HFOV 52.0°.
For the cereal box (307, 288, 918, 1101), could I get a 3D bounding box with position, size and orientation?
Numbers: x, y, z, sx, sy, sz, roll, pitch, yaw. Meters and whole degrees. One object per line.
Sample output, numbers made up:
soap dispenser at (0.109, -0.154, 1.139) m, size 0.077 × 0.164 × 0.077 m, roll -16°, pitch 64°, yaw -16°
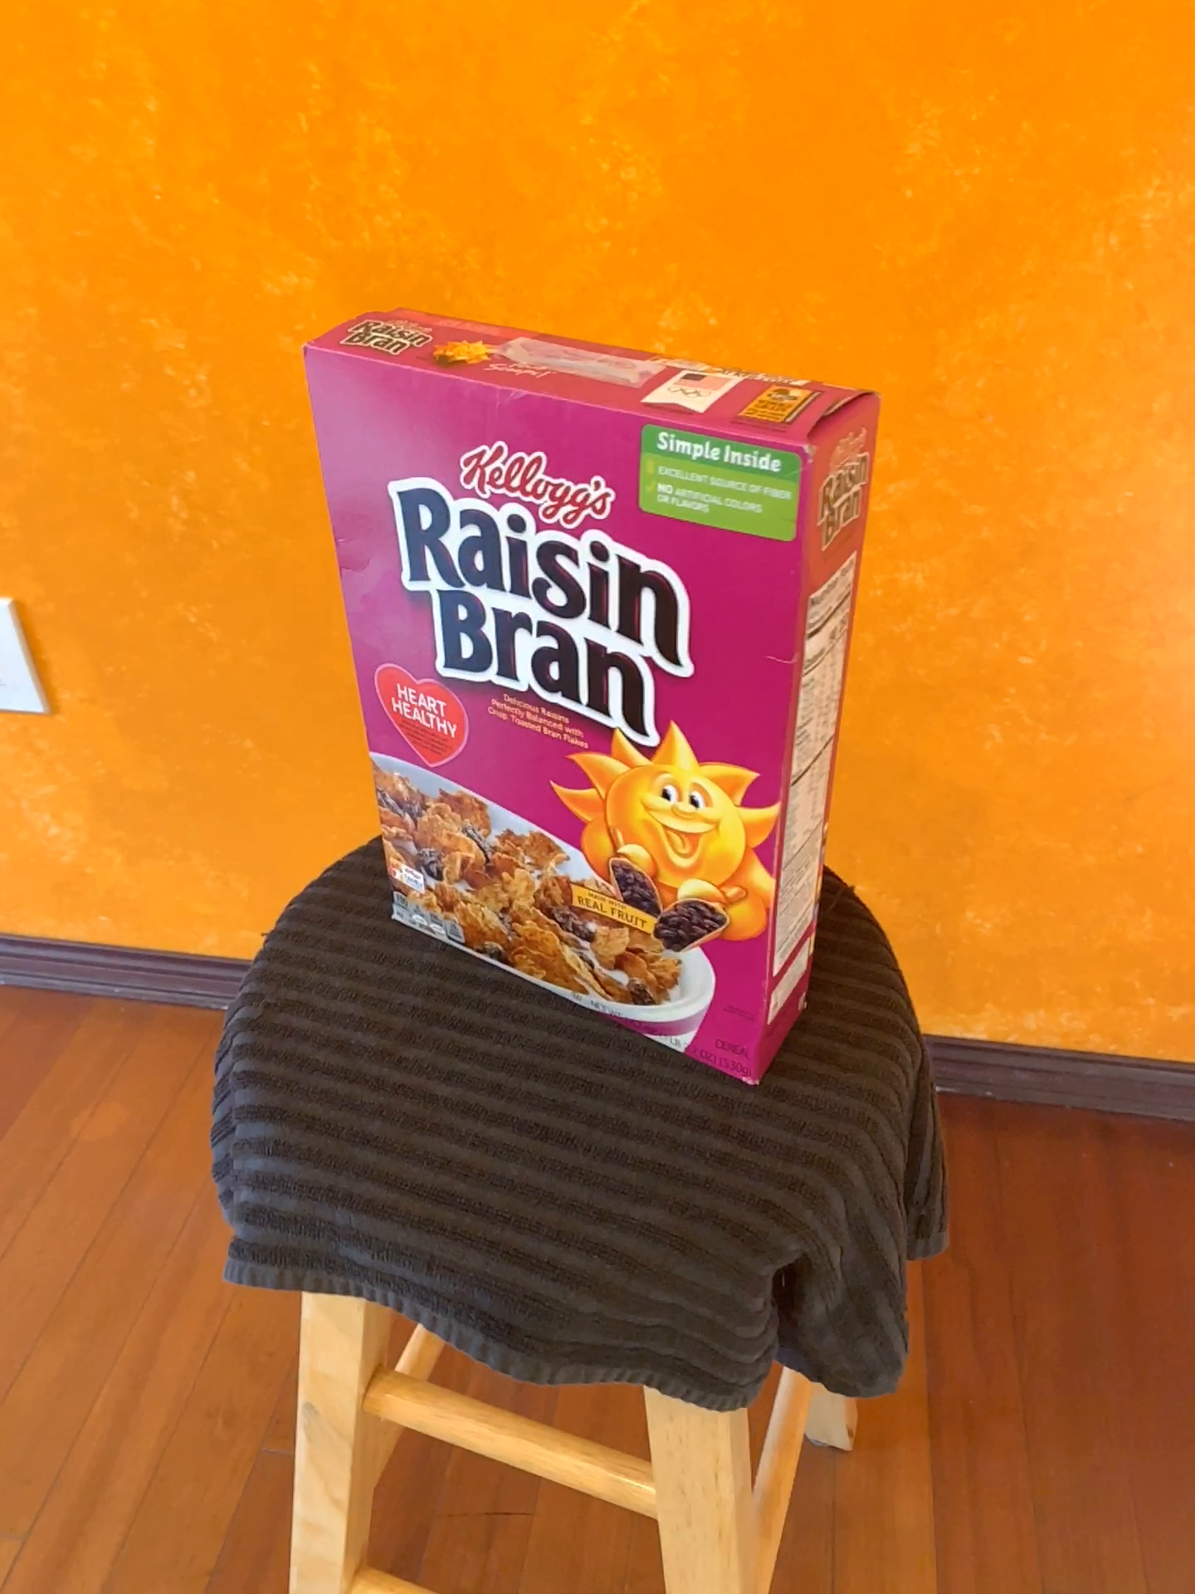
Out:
cereal box at (0.002, -0.033, 0.493) m, size 0.200 × 0.288 × 0.060 m, roll 20°, pitch 42°, yaw 26°
